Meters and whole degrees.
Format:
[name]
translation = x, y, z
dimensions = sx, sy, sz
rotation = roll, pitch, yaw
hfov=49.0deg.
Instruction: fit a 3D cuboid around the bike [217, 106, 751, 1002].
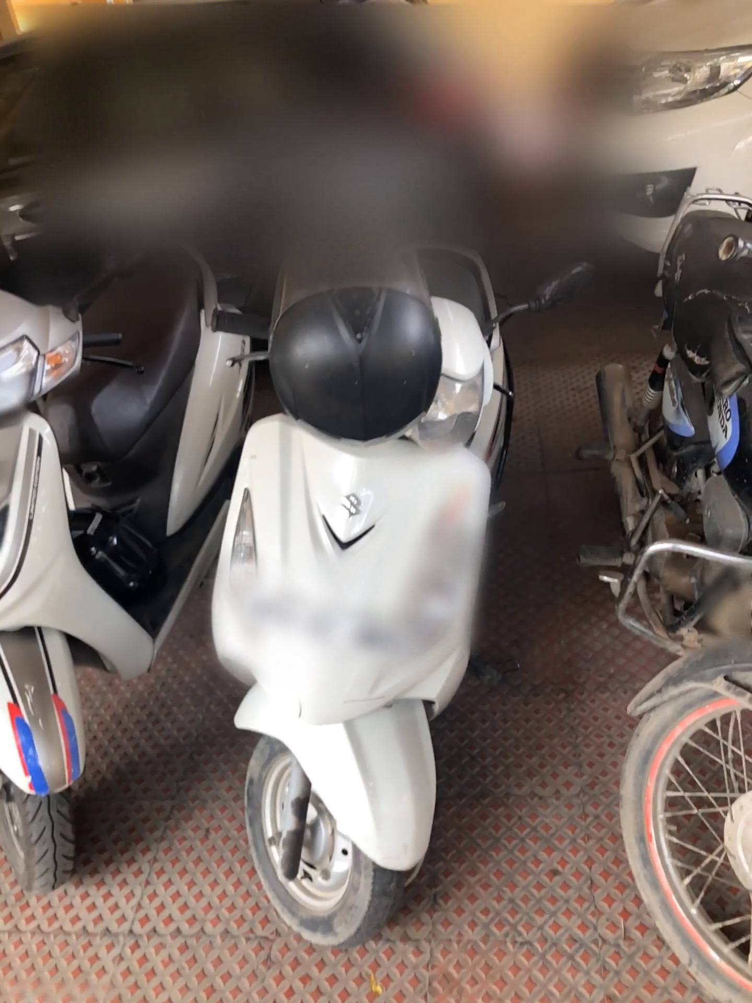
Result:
[bike]
translation = 0.286, 0.031, 1.774
dimensions = 0.832, 0.940, 1.516
rotation = -7, 42, 7
